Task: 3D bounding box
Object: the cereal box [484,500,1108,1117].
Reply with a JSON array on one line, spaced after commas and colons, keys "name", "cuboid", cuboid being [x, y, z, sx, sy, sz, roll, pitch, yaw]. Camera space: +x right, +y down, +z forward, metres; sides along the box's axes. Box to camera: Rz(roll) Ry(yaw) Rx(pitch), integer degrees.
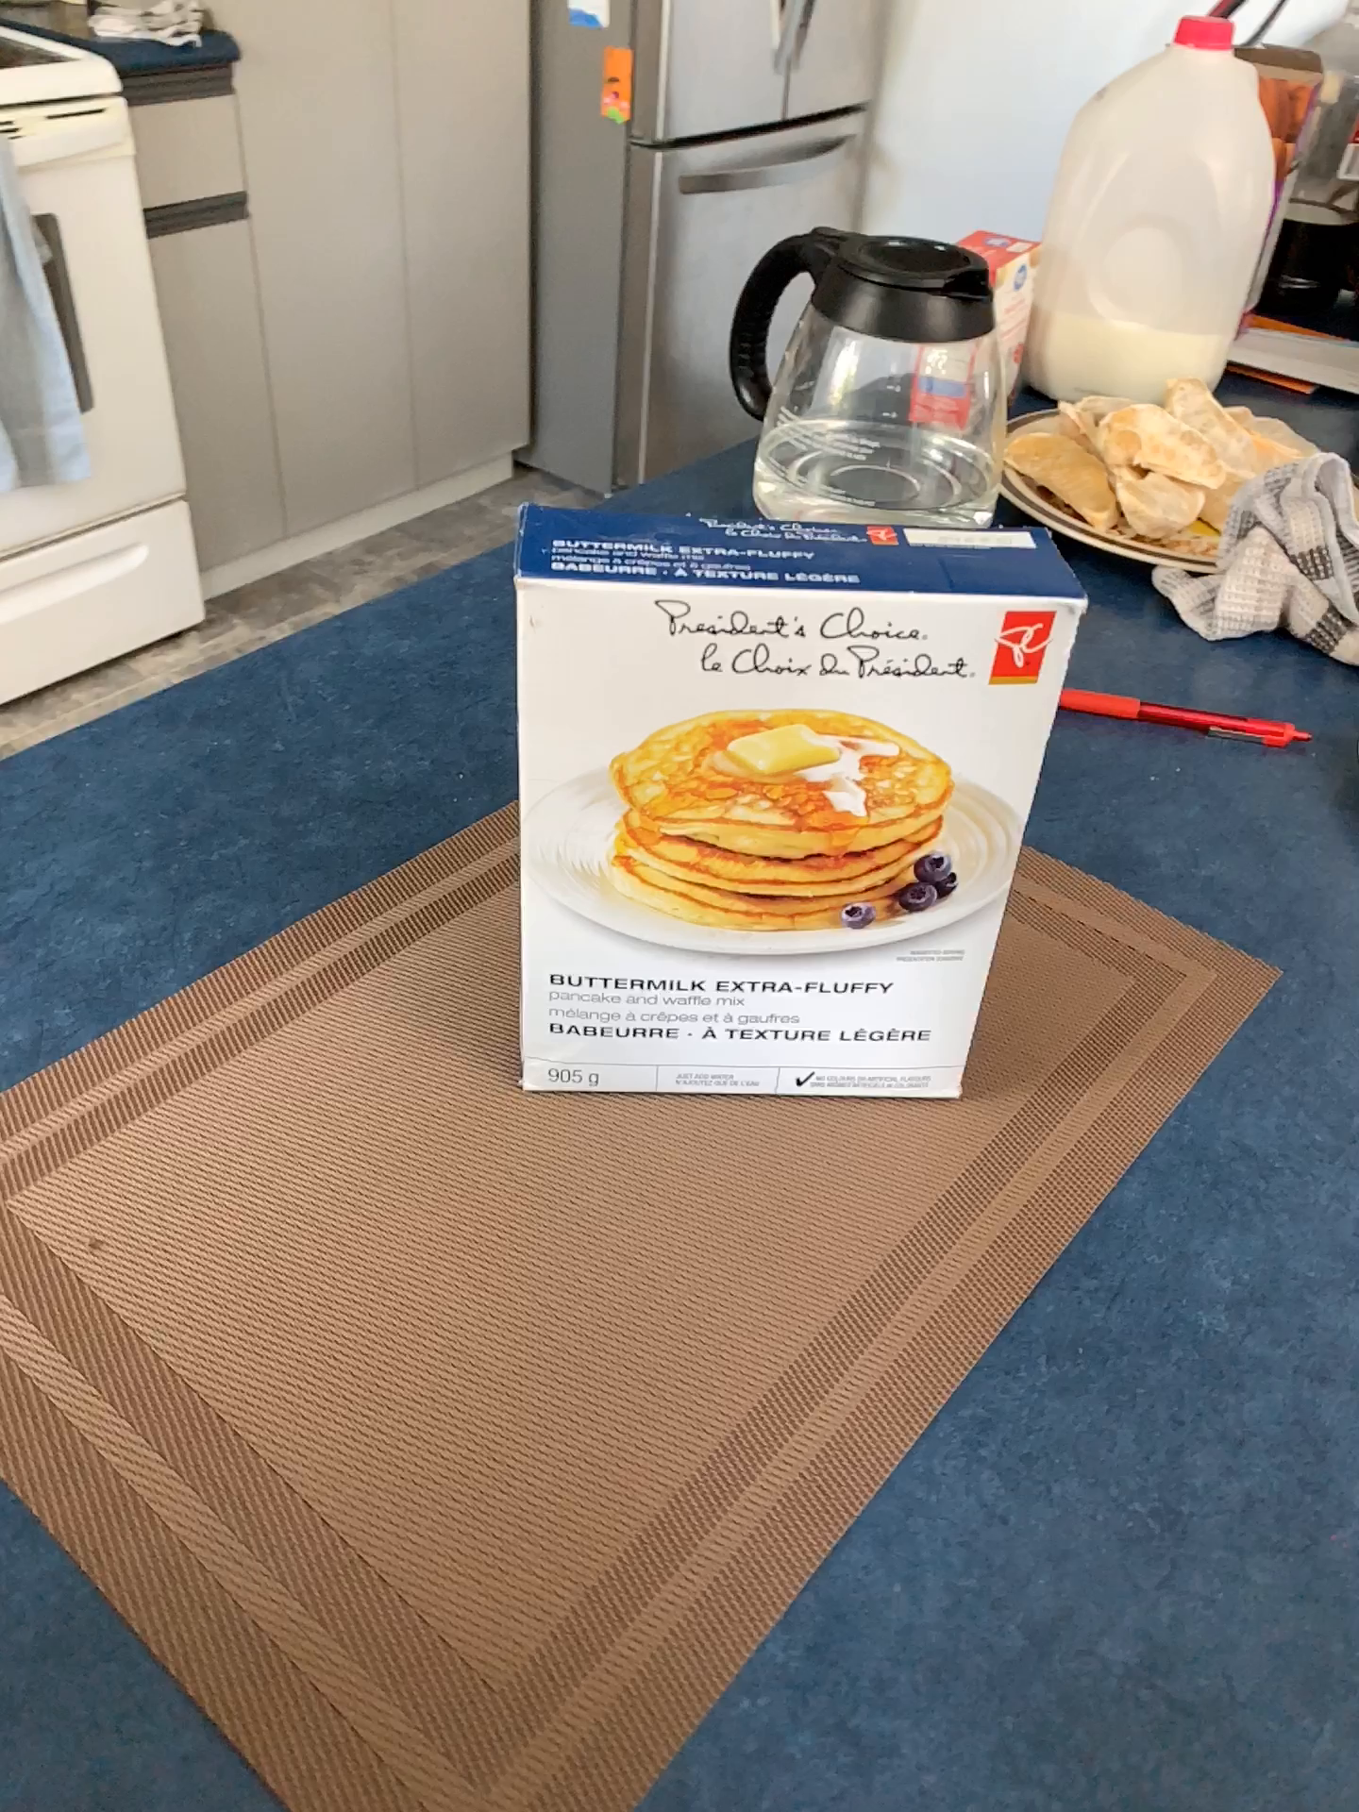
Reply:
[{"name": "cereal box", "cuboid": [0.025, -0.021, 0.459, 0.170, 0.208, 0.050, 1, 39, -5]}]
